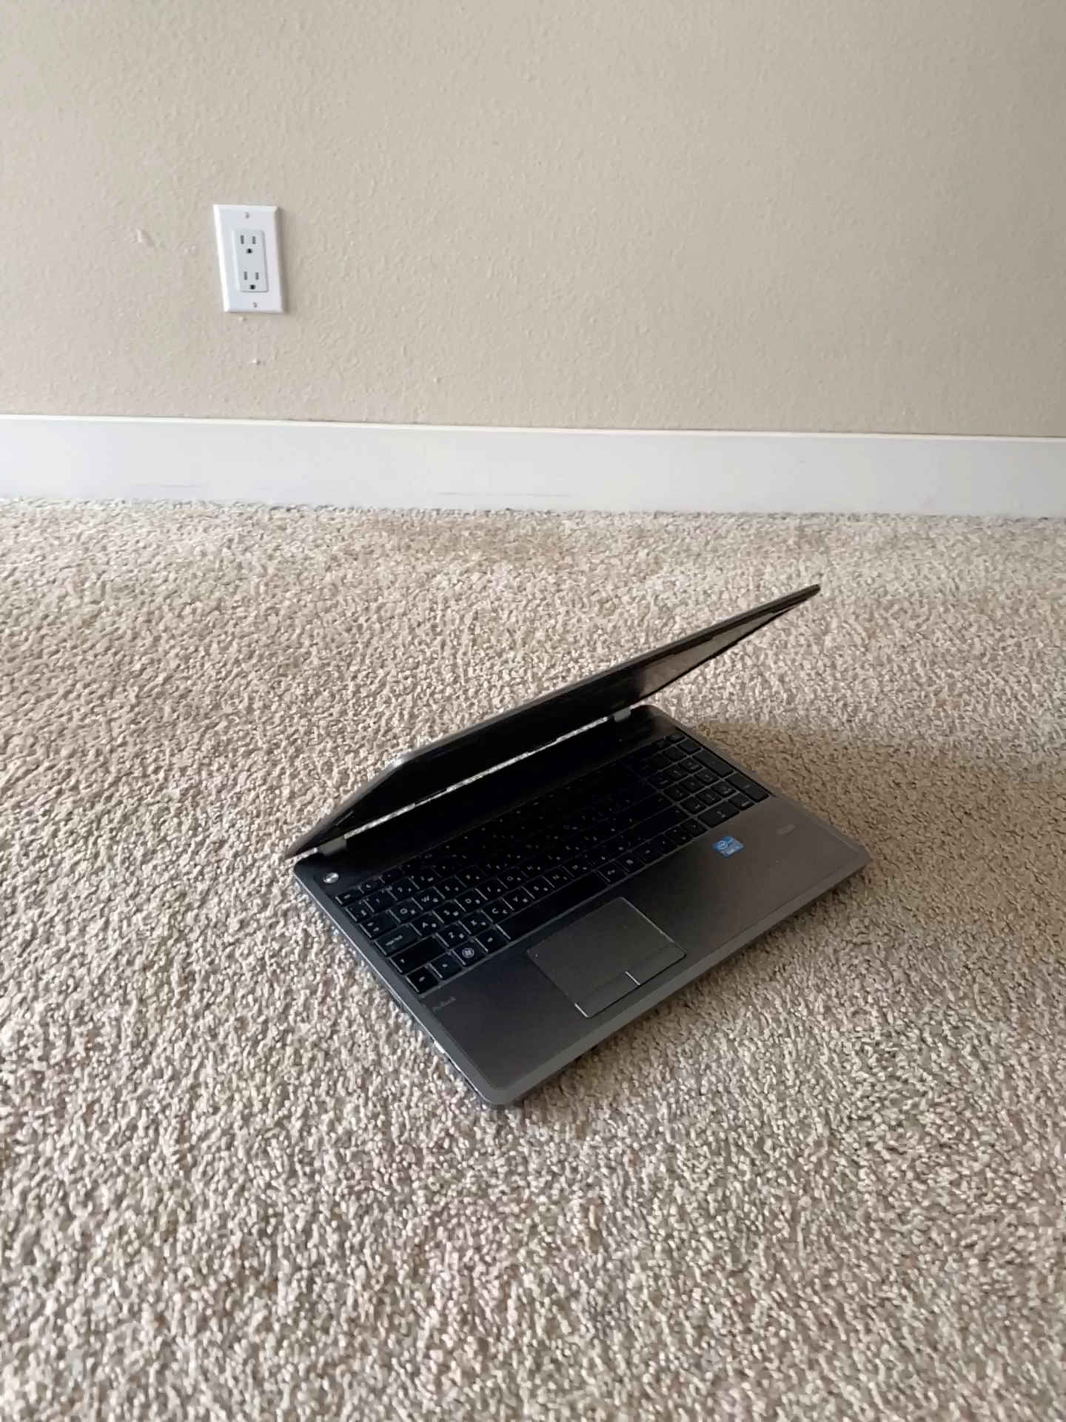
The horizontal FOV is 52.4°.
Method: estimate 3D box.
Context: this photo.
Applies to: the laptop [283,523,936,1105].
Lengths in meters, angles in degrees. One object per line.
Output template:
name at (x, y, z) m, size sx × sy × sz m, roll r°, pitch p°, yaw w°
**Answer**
laptop at (0.053, 0.038, 0.777) m, size 0.369 × 0.186 × 0.254 m, roll -23°, pitch 42°, yaw -34°
